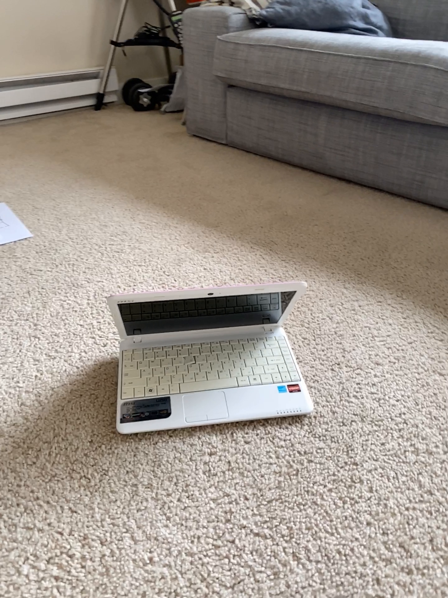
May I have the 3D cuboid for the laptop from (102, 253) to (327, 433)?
[{"bbox_3d":[-0.022,0.056,0.688,0.286,0.147,0.189,-5,36,-8],"label":"laptop"}]
